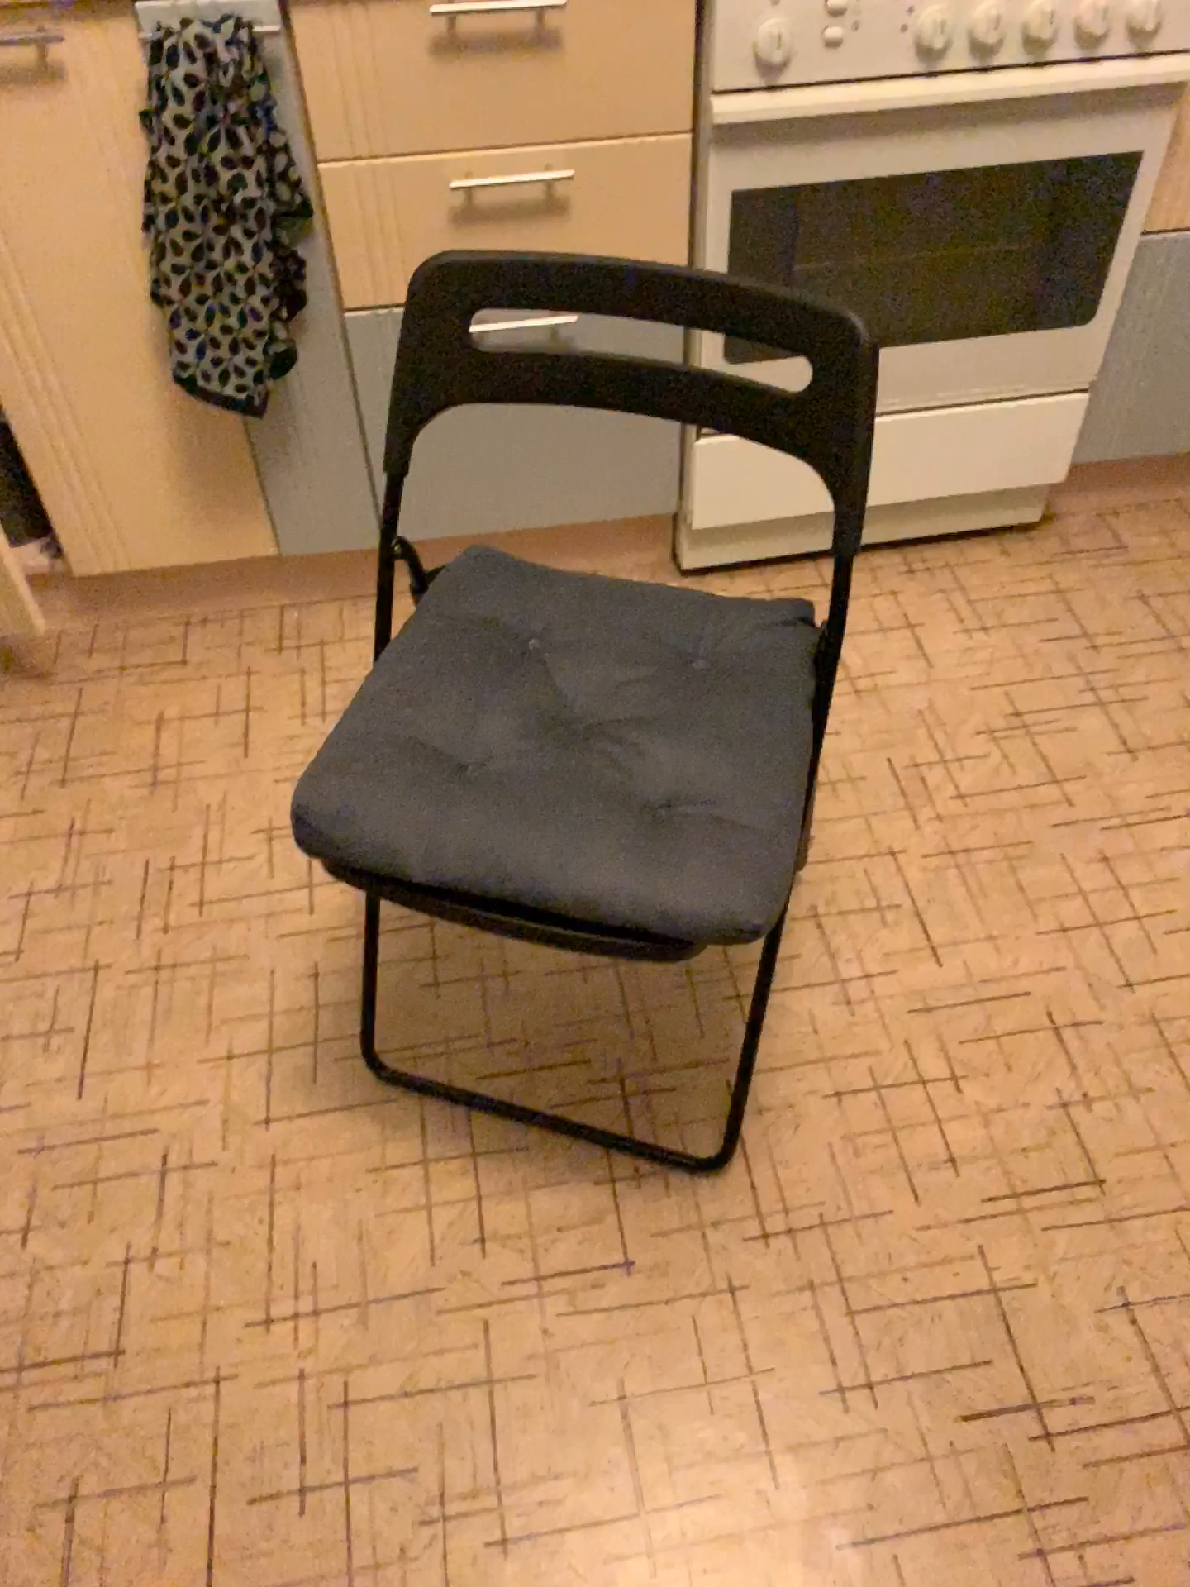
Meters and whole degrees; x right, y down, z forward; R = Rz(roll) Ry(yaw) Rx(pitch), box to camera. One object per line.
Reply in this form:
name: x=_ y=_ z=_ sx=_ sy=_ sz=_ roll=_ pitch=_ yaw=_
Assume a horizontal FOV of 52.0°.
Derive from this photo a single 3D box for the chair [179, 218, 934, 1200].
chair: x=0.013 y=-0.049 z=1.200 sx=0.440 sy=0.776 sz=0.482 roll=12 pitch=49 yaw=12
